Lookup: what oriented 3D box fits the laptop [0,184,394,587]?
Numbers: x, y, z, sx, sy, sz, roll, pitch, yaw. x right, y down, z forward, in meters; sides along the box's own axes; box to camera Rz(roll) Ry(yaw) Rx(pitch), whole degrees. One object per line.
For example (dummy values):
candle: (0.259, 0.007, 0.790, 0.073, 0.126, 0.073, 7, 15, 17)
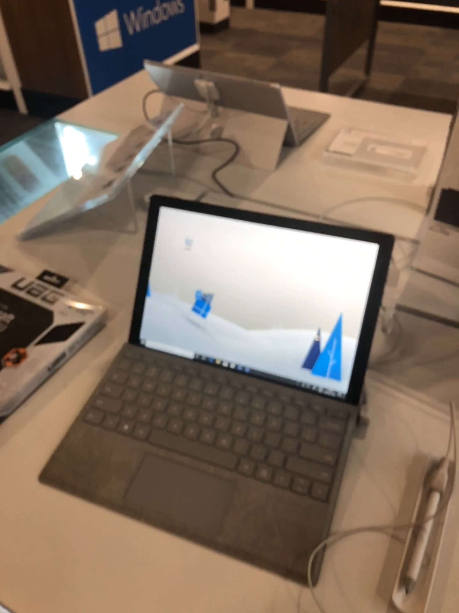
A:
laptop: (-0.010, 0.048, 0.533, 0.285, 0.150, 0.309, 13, 48, 16)
